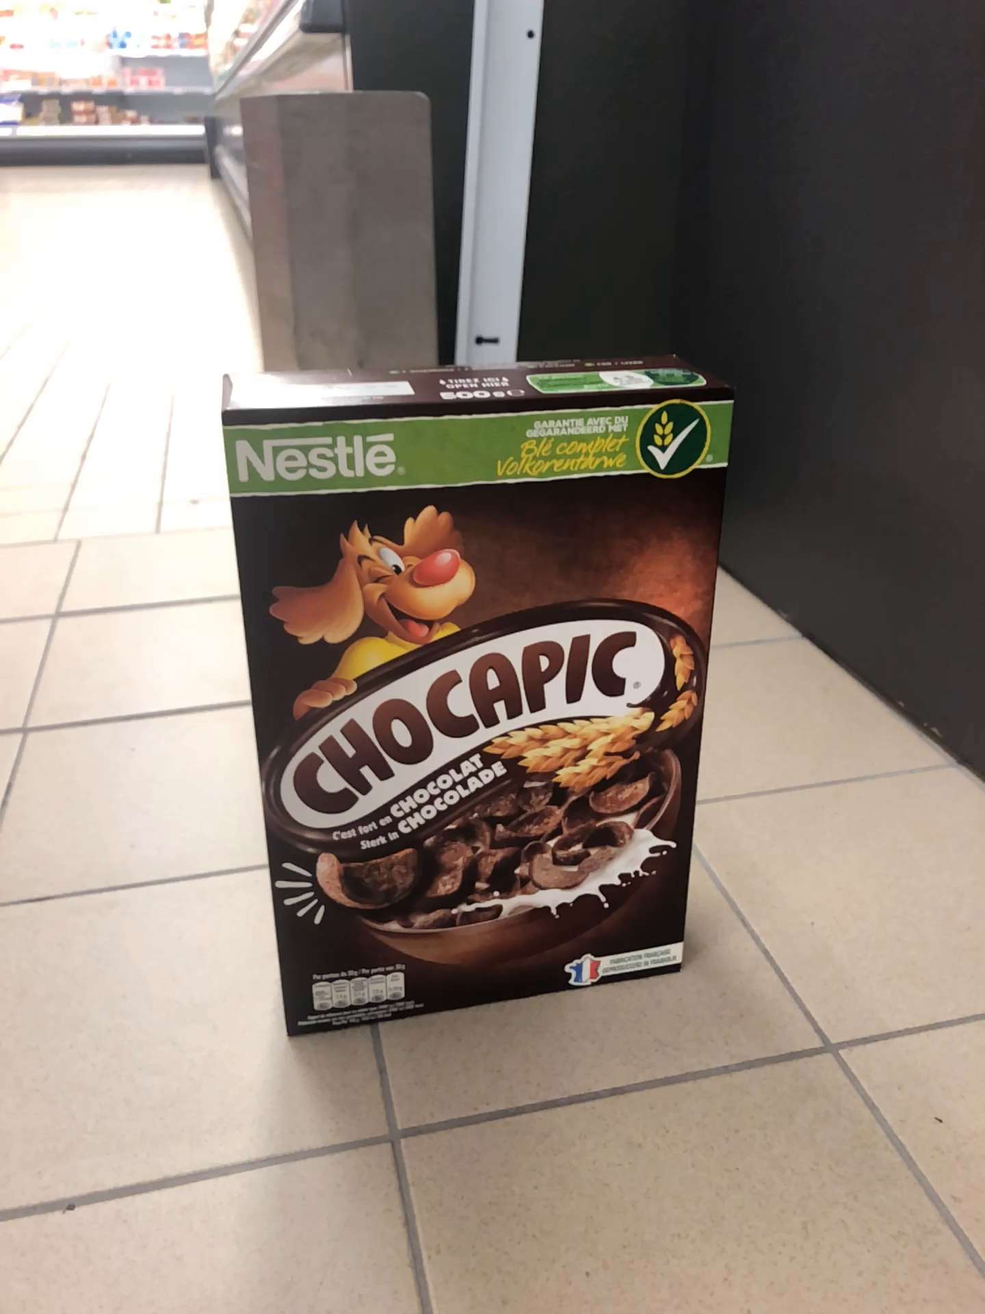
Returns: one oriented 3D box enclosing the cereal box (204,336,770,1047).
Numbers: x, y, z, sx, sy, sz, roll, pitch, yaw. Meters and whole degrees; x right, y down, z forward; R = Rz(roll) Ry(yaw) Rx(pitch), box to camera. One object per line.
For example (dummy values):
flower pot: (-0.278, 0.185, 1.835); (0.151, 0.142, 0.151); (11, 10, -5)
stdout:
cereal box: (-0.006, 0.018, 0.469); (0.200, 0.288, 0.070); (-5, 26, -12)

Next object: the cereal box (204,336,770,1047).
cereal box: (-0.006, 0.018, 0.469); (0.200, 0.288, 0.070); (-5, 26, -12)
